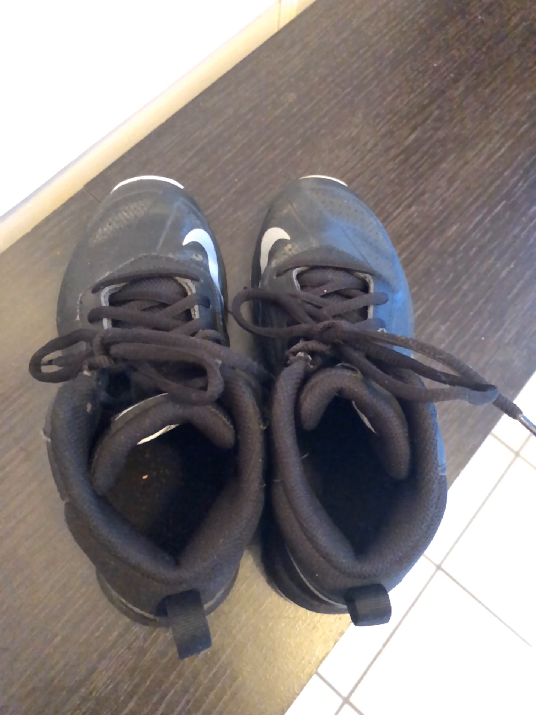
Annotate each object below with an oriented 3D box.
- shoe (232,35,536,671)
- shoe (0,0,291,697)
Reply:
[{"bbox_3d":[0.035,-0.003,0.283,0.100,0.130,0.251,0,70,-4],"label":"shoe"},{"bbox_3d":[-0.064,-0.010,0.275,0.100,0.130,0.261,-6,70,-6],"label":"shoe"}]
